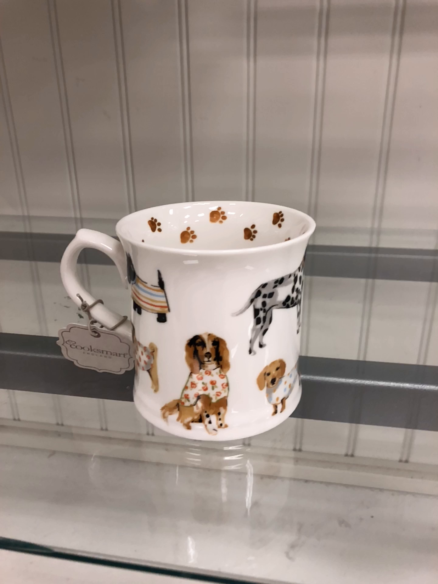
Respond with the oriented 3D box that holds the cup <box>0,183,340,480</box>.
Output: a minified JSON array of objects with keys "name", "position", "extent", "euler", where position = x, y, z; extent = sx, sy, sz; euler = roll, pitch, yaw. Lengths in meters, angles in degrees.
[{"name":"cup","position":[-0.016,0.004,0.235],"extent":[0.125,0.089,0.101],"euler":[8,23,20]}]
